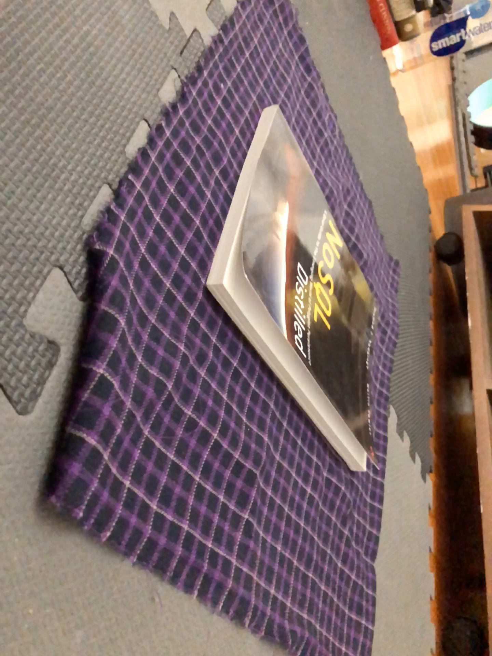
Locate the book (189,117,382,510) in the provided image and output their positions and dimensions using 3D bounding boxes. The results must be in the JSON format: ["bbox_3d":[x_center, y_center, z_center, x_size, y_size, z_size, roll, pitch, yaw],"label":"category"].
[{"bbox_3d":[0.054,-0.001,0.422,0.251,0.020,0.191,53,38,-40],"label":"book"}]
